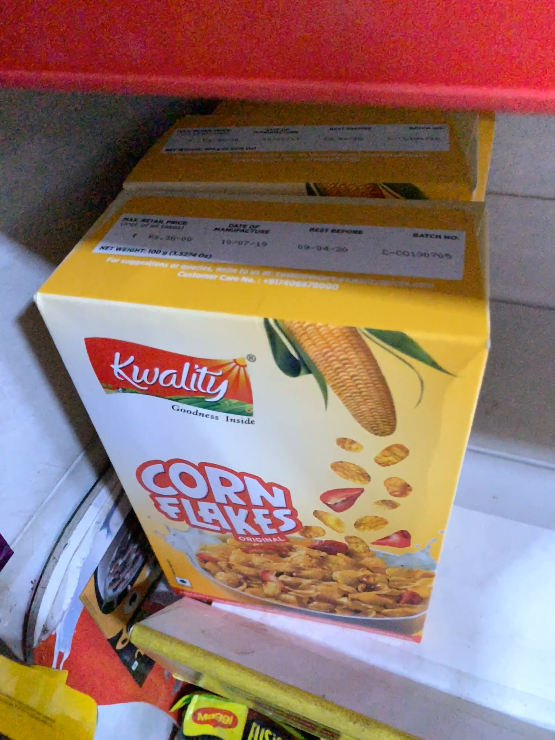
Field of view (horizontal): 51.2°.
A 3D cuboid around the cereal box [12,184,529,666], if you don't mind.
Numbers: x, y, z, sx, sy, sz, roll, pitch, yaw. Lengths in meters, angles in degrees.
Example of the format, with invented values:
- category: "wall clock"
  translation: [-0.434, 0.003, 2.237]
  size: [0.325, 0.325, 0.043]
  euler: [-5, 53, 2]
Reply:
- category: "cereal box"
  translation: [0.007, 0.031, 0.212]
  size: [0.120, 0.179, 0.060]
  euler: [5, 45, 13]
